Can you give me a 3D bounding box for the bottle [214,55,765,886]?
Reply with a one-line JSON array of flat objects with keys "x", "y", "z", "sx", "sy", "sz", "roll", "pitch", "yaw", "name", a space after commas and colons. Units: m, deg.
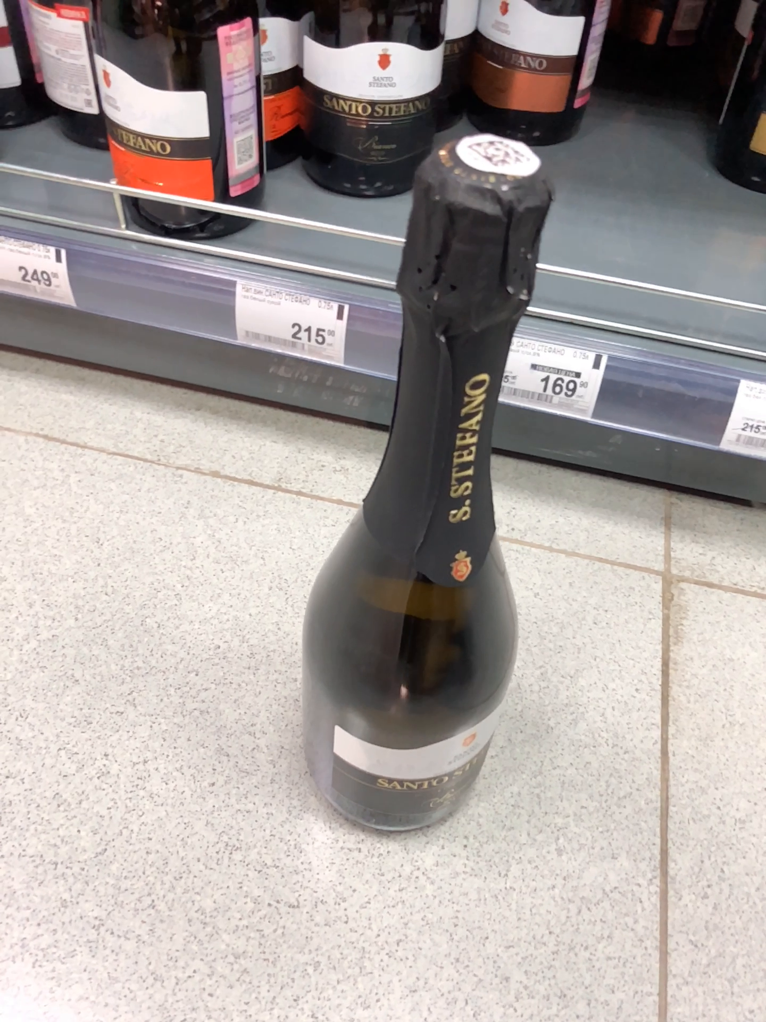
[{"x": 0.019, "y": 0.013, "z": 0.315, "sx": 0.110, "sy": 0.298, "sz": 0.100, "roll": 3, "pitch": 46, "yaw": -3, "name": "bottle"}]
